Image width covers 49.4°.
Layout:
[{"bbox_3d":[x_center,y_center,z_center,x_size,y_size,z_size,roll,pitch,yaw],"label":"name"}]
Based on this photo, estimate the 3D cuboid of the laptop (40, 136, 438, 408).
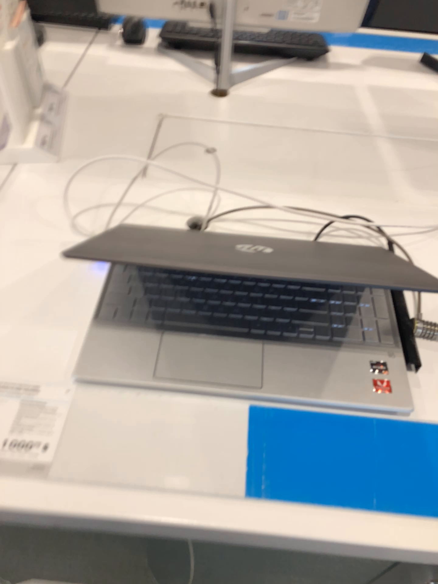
[{"bbox_3d":[0.035,-0.031,0.510,0.350,0.134,0.232,6,48,2],"label":"laptop"}]
